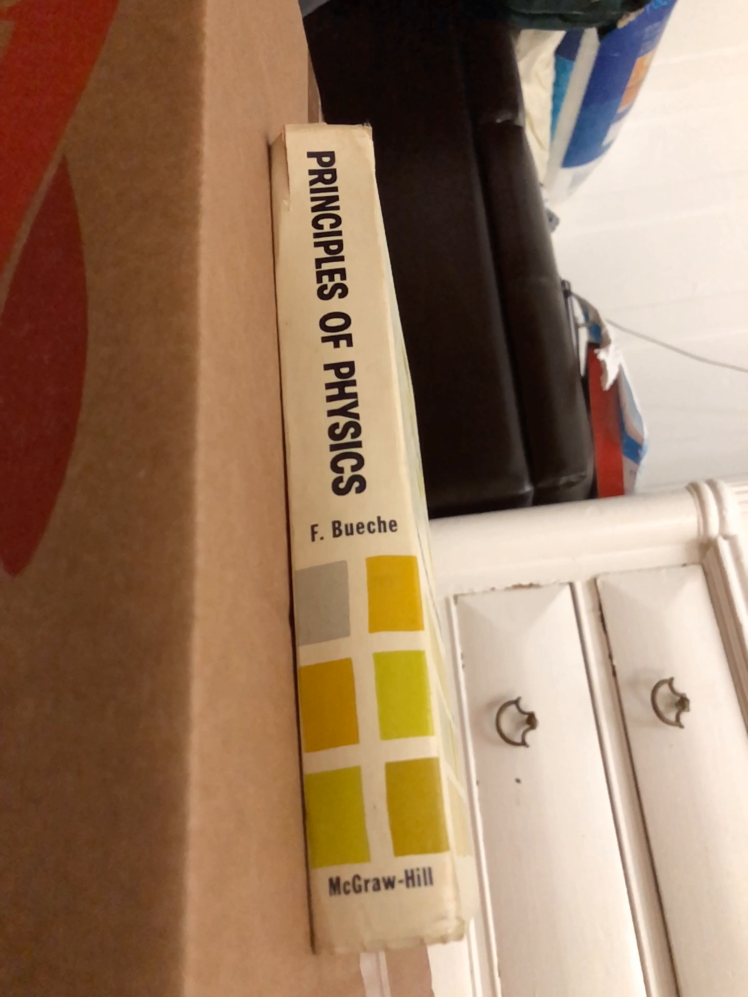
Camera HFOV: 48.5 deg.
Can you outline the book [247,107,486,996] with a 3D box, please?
[{"bbox_3d":[0.001,0.024,0.303,0.180,0.040,0.250,70,13,-65],"label":"book"}]
